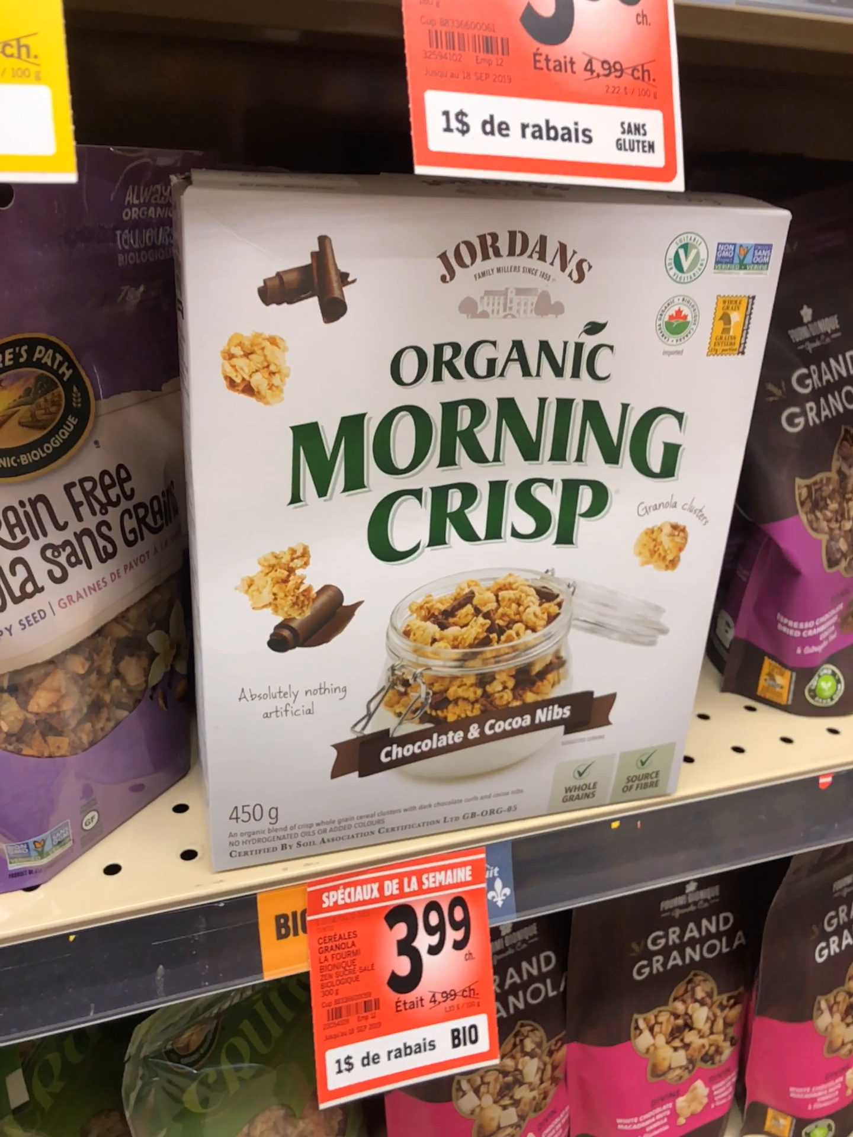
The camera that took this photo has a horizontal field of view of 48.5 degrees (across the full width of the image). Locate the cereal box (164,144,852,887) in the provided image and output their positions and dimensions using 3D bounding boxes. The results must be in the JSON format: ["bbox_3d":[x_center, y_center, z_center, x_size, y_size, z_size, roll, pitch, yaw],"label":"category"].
[{"bbox_3d":[0.018,-0.014,0.298,0.180,0.209,0.050,-5,26,-17],"label":"cereal box"}]
